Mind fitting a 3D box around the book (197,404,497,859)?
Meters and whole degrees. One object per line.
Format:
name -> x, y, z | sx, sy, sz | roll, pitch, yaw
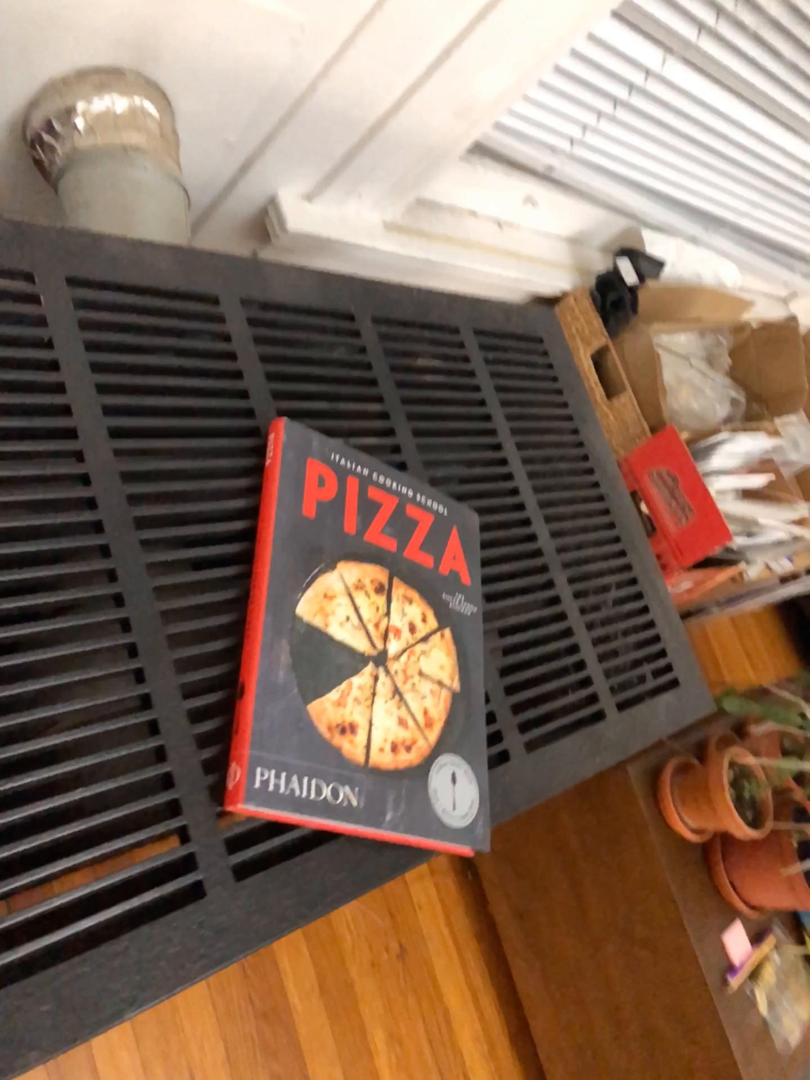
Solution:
book -> -0.022, 0.053, 0.519 | 0.180, 0.020, 0.231 | 23, 53, -34
